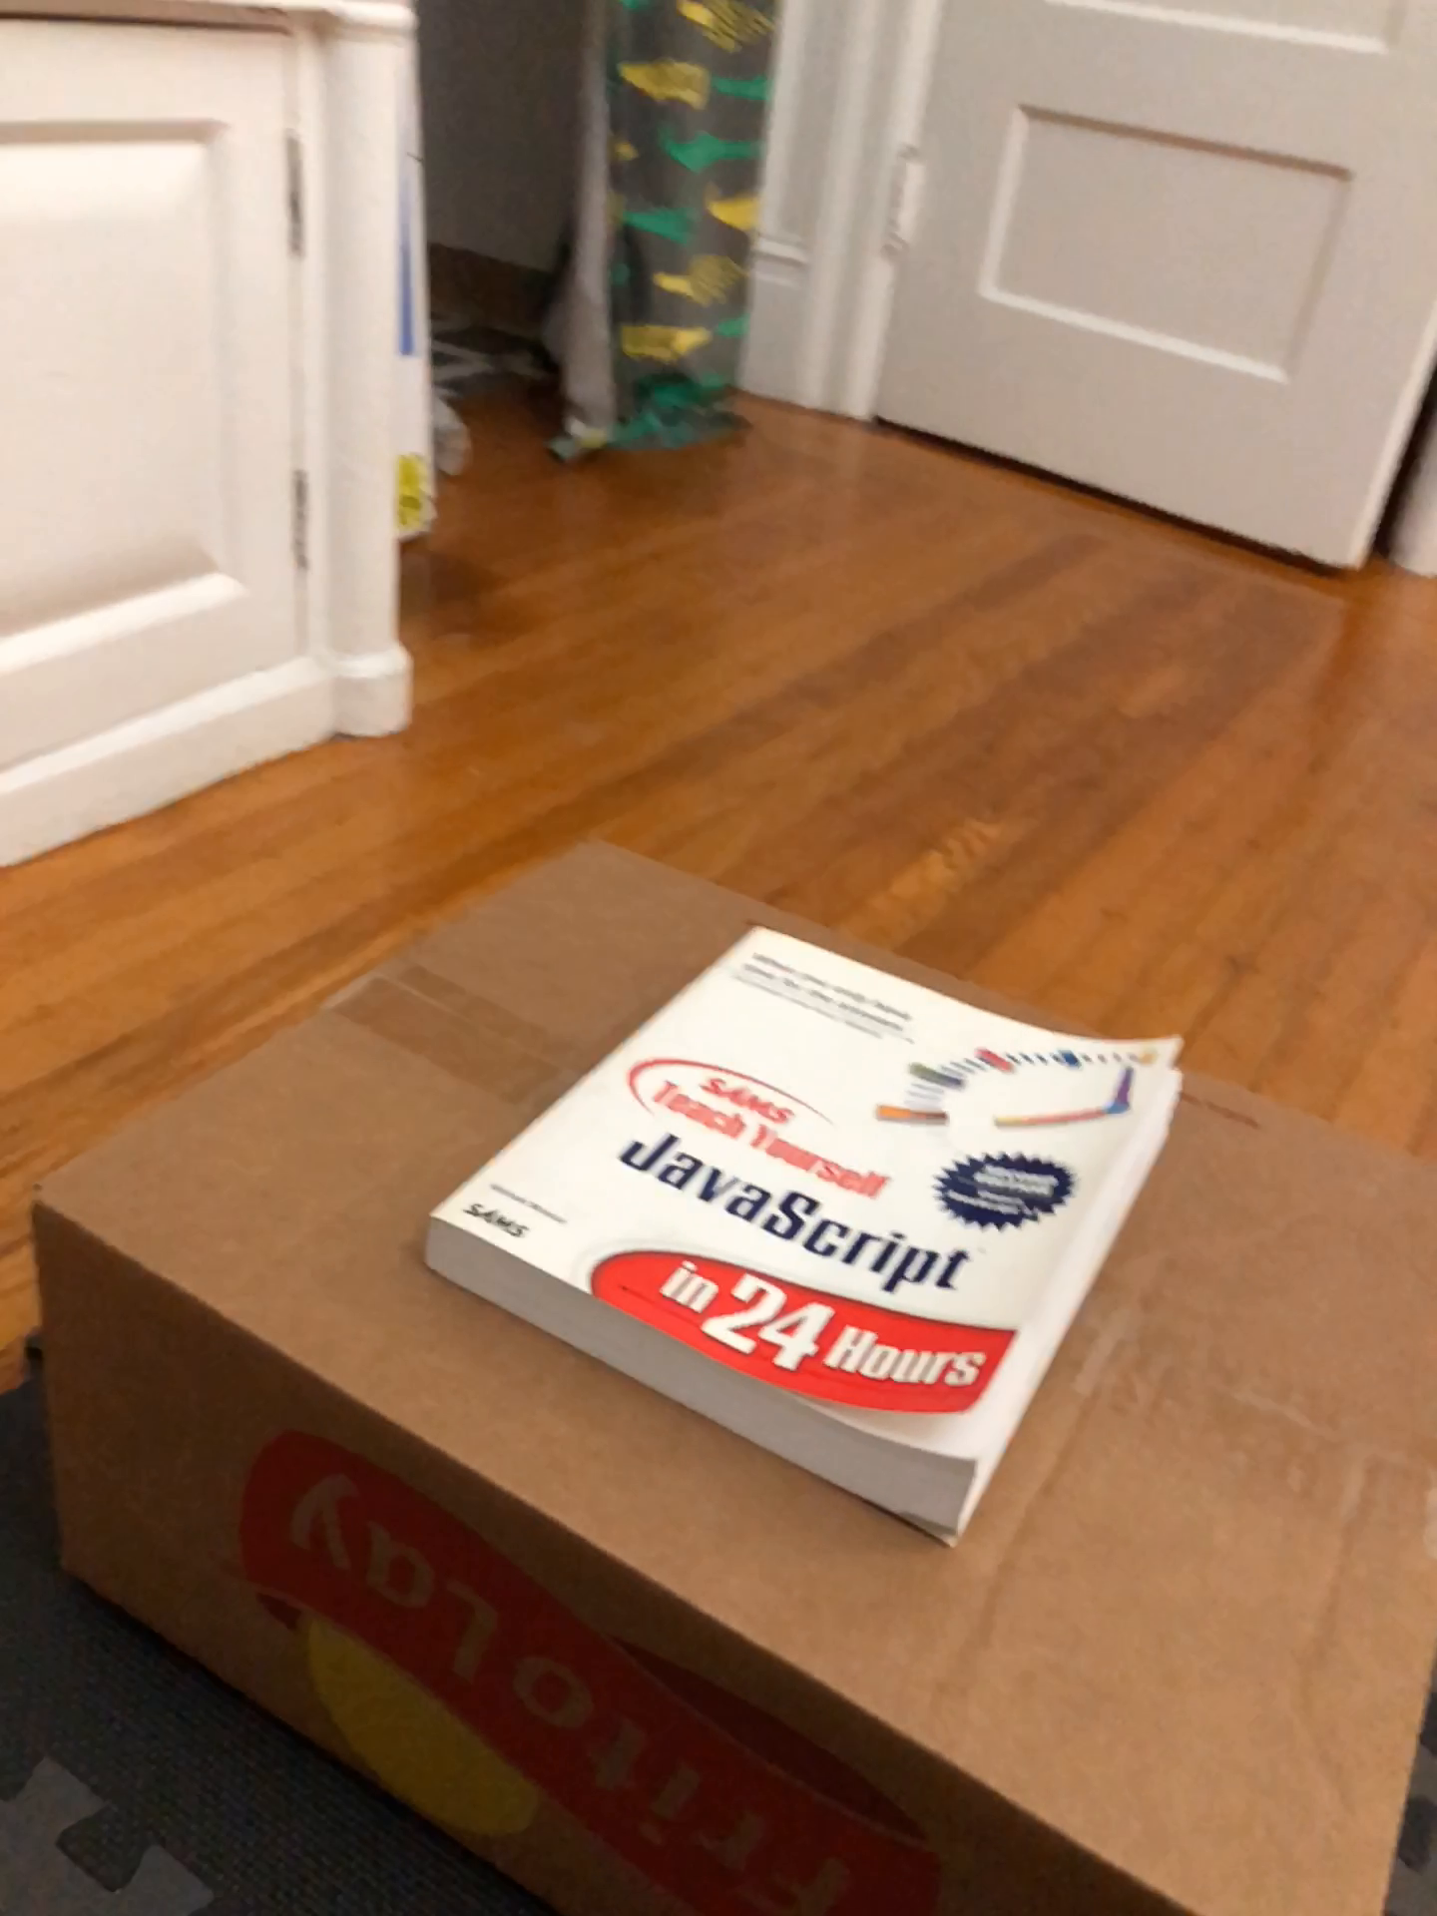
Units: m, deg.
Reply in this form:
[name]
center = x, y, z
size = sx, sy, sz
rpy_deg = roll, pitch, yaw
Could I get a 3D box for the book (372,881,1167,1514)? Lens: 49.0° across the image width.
[book]
center = 0.032, 0.061, 0.566
size = 0.200, 0.030, 0.241
rpy_deg = 21, 32, 19
